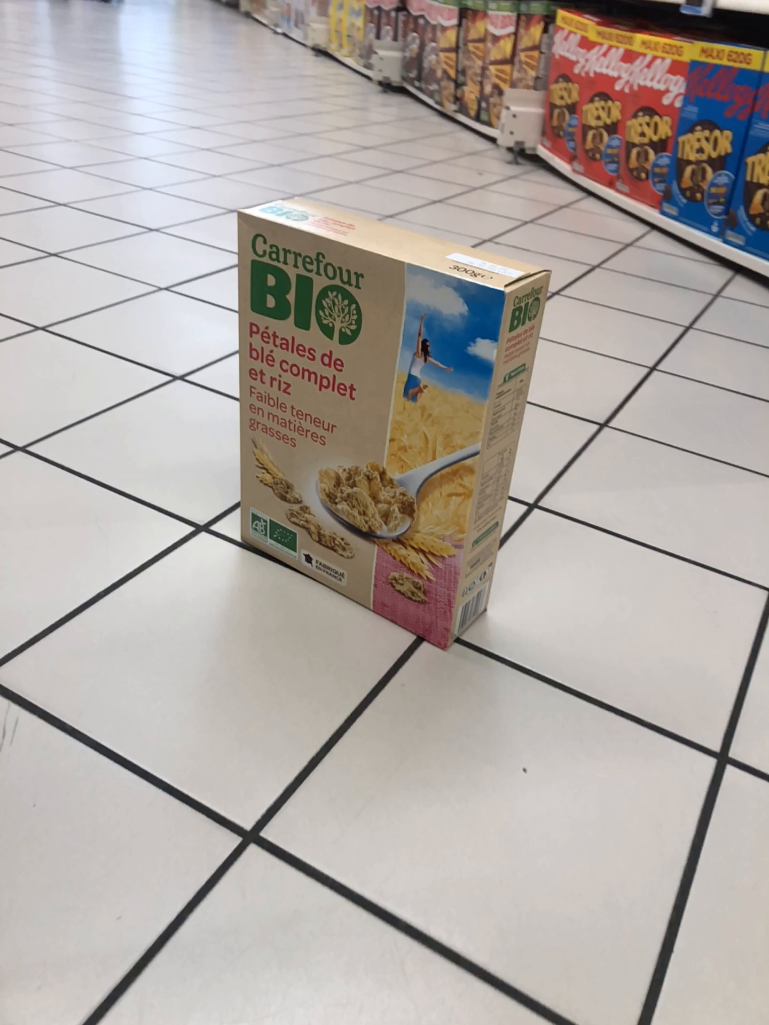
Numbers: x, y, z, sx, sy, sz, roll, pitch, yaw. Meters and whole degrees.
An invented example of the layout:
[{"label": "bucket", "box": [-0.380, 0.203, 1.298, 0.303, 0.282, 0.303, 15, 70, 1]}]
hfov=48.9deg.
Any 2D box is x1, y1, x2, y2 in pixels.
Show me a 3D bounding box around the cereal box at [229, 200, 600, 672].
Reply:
[{"label": "cereal box", "box": [0.002, -0.055, 0.555, 0.210, 0.238, 0.081, 26, 36, 28]}]
